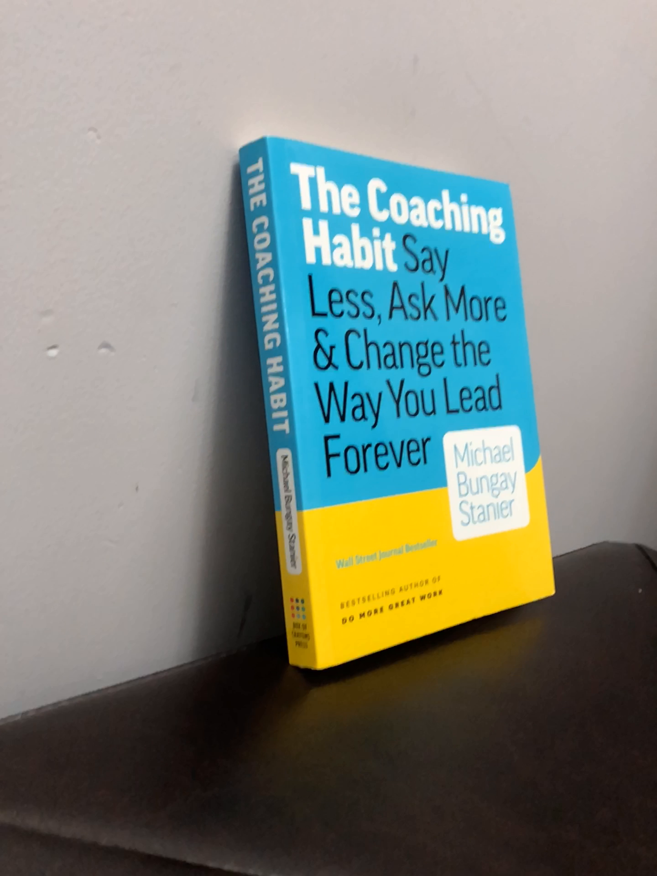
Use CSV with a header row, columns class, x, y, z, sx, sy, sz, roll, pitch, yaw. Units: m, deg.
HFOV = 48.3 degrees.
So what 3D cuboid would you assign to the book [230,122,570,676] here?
class,x,y,z,sx,sy,sz,roll,pitch,yaw
book,0.037,-0.018,0.314,0.145,0.196,0.030,-3,-4,-39
